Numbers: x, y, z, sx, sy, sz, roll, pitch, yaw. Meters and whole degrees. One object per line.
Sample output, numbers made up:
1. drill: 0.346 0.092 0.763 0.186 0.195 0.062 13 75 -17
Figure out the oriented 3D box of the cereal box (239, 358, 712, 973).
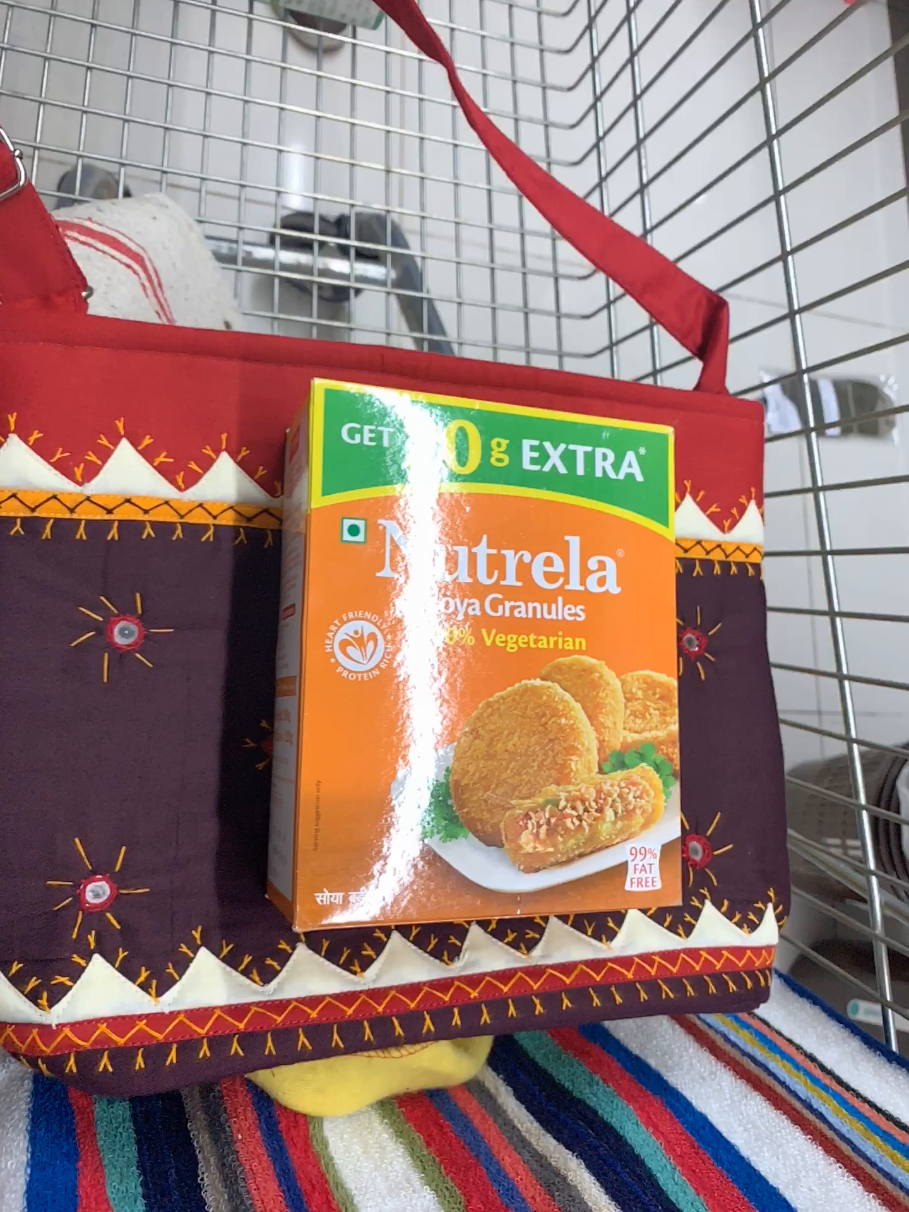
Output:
1. cereal box: 0.004 0.018 0.276 0.120 0.060 0.150 3 81 -19
